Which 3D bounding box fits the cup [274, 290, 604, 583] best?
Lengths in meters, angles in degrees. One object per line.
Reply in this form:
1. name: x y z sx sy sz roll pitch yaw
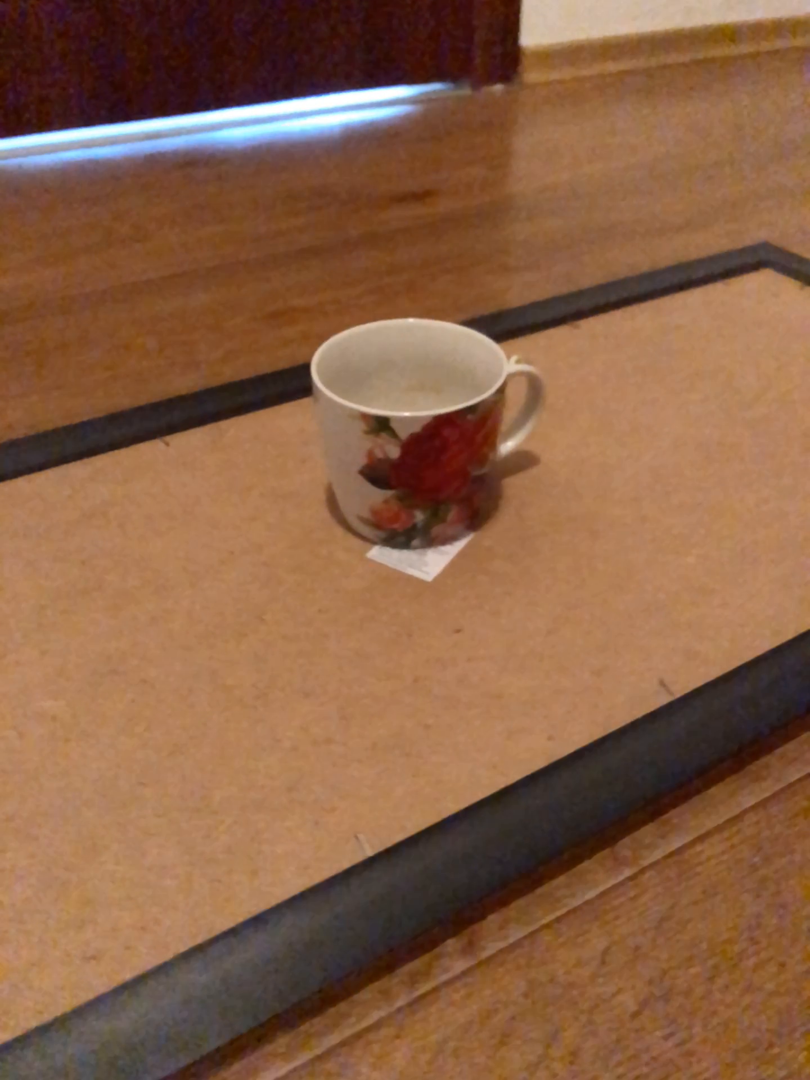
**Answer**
1. cup: 0.014 -0.057 0.445 0.121 0.079 0.098 -20 42 -23
